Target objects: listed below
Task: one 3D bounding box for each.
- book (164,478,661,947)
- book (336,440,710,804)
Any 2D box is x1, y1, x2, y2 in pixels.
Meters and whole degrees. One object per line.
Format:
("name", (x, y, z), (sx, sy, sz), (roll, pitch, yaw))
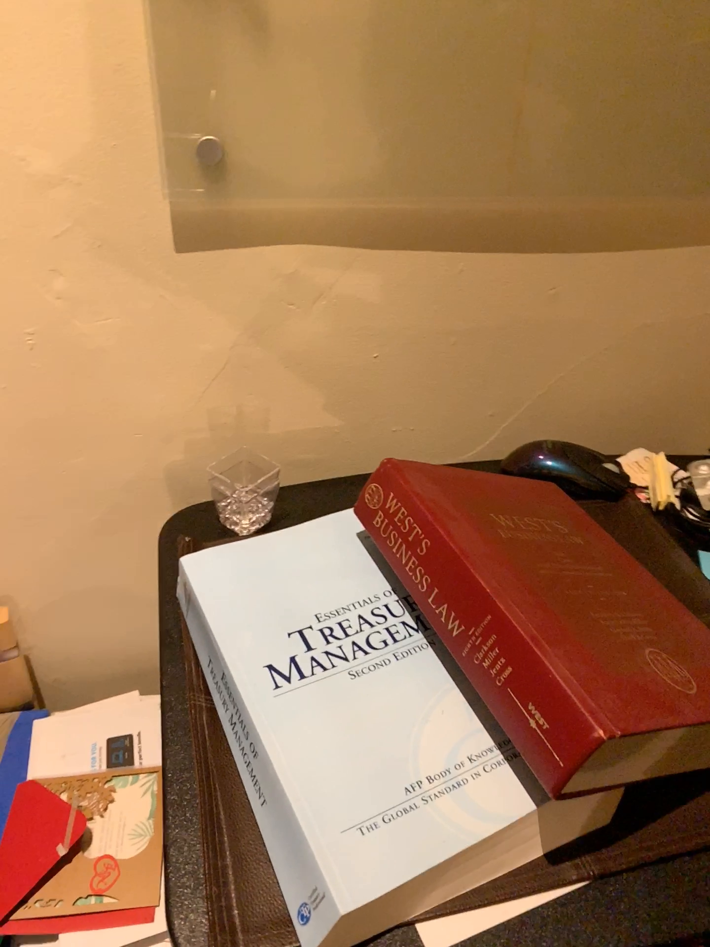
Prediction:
("book", (0.016, 0.132, 0.492), (0.220, 0.070, 0.271), (-13, 40, -21))
("book", (0.137, 0.086, 0.522), (0.210, 0.050, 0.271), (9, 29, -36))
